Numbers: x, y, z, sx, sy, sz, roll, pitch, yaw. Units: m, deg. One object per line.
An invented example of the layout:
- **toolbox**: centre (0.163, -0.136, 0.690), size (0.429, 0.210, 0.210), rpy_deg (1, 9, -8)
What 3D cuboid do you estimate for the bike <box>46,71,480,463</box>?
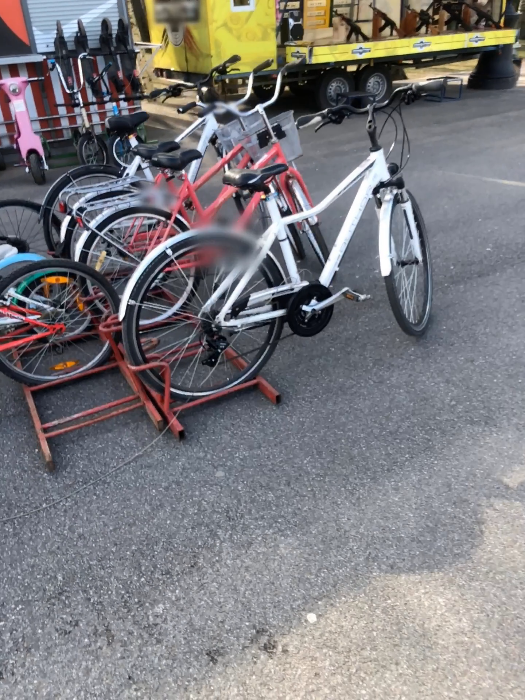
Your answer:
- **bike**: centre (0.099, -0.497, 2.510), size (1.700, 1.111, 0.647), rpy_deg (-23, 36, -30)
